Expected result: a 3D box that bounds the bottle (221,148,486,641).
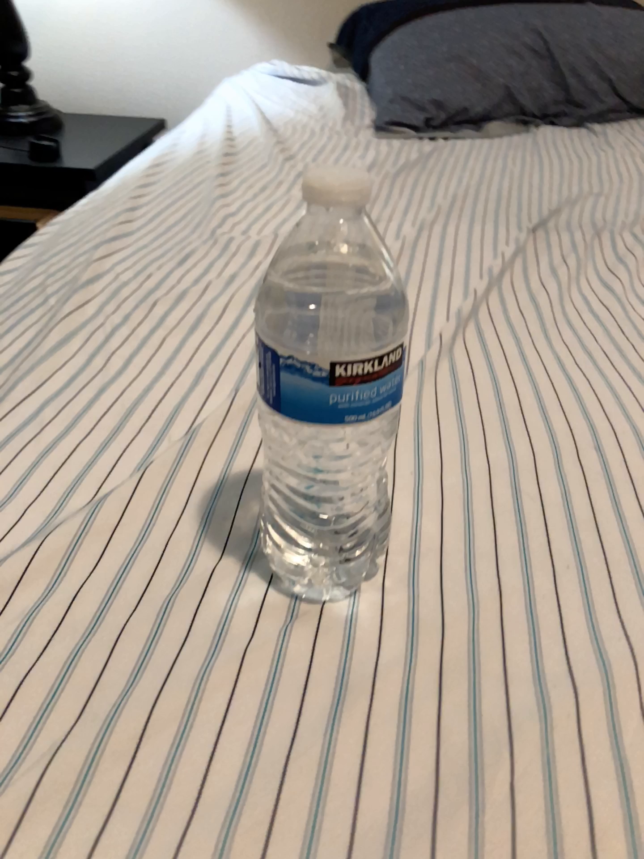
[{"bbox_3d":[0.009,-0.009,0.318,0.070,0.199,0.070,1,36,0],"label":"bottle"}]
